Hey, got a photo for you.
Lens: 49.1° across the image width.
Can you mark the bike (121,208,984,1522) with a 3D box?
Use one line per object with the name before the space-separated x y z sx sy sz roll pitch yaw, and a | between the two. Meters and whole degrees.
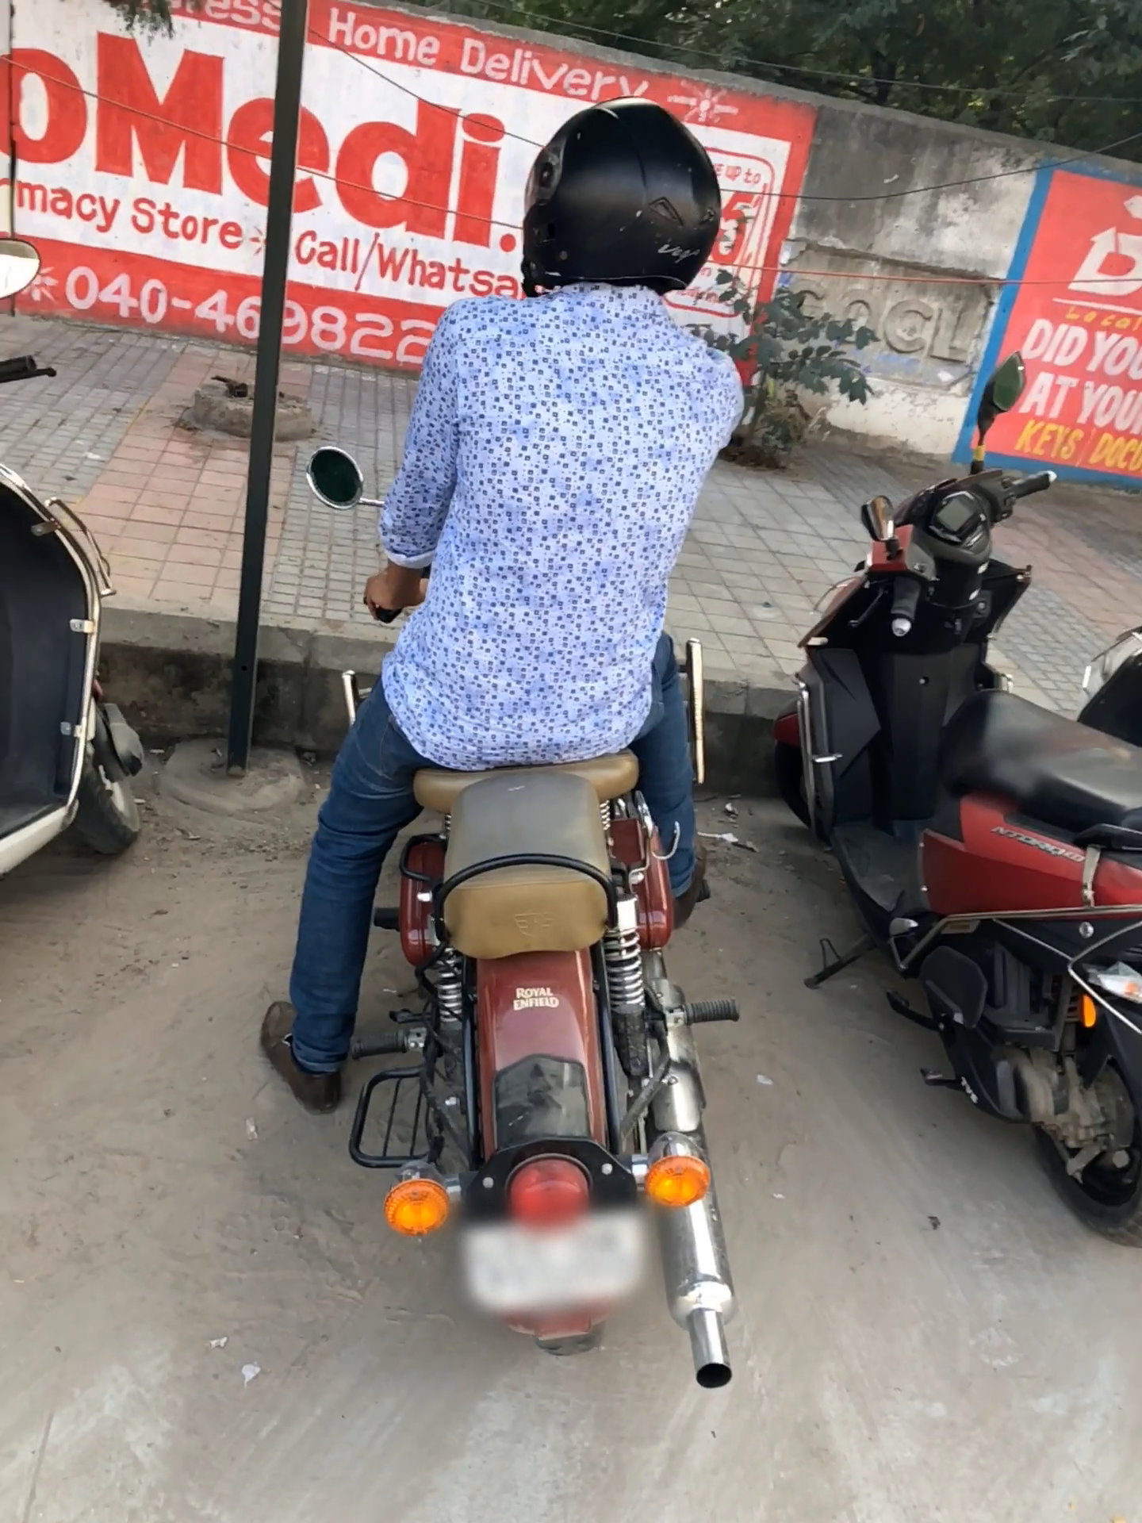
bike | -0.160 0.011 2.078 0.793 1.256 1.558 7 31 -10
